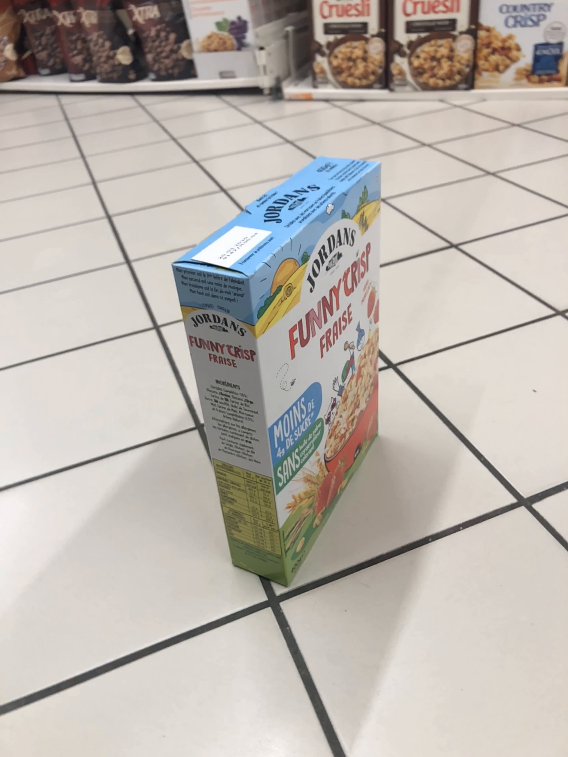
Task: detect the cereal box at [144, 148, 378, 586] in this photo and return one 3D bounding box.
[{"bbox_3d":[0.006,-0.009,0.416,0.050,0.229,0.171,13,40,26],"label":"cereal box"}]
